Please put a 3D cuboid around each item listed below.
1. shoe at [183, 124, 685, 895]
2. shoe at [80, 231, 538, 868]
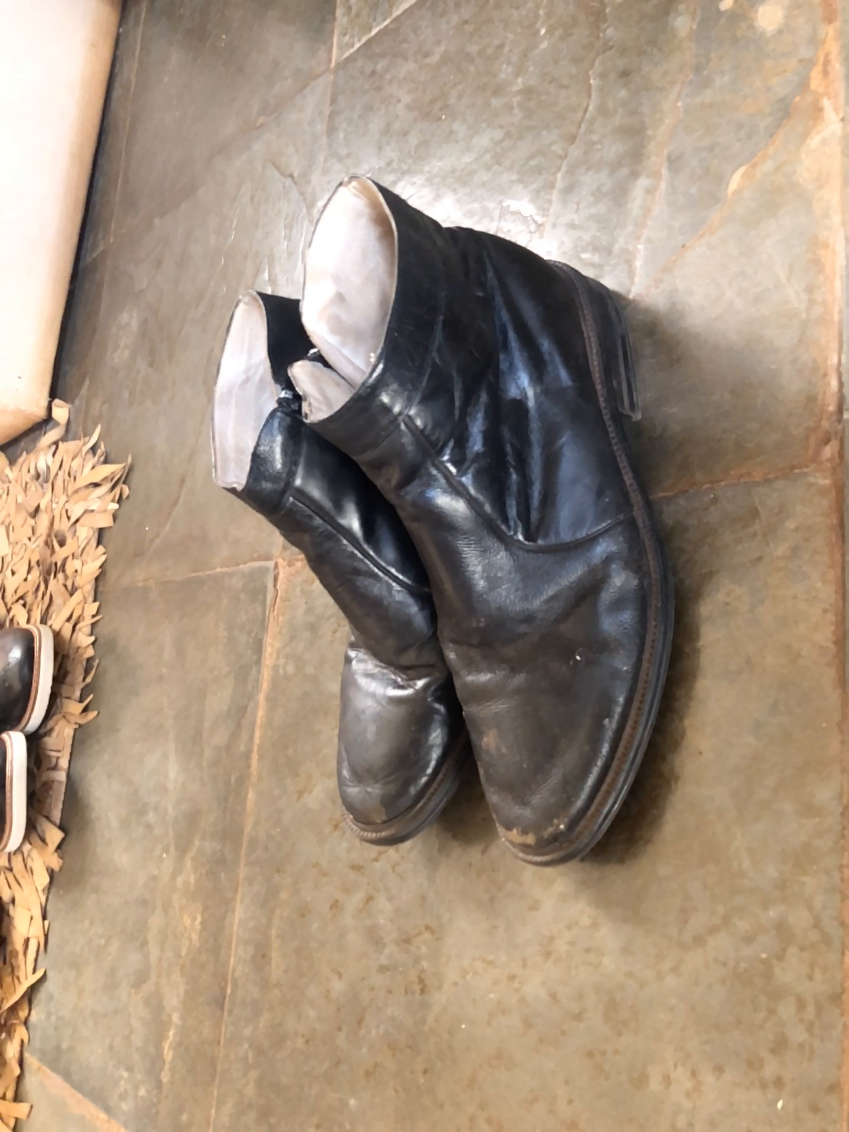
[{"bbox_3d":[0.012,-0.007,0.376,0.100,0.159,0.250,-14,69,46],"label":"shoe"},{"bbox_3d":[-0.046,0.004,0.446,0.100,0.159,0.250,-6,74,48],"label":"shoe"}]
